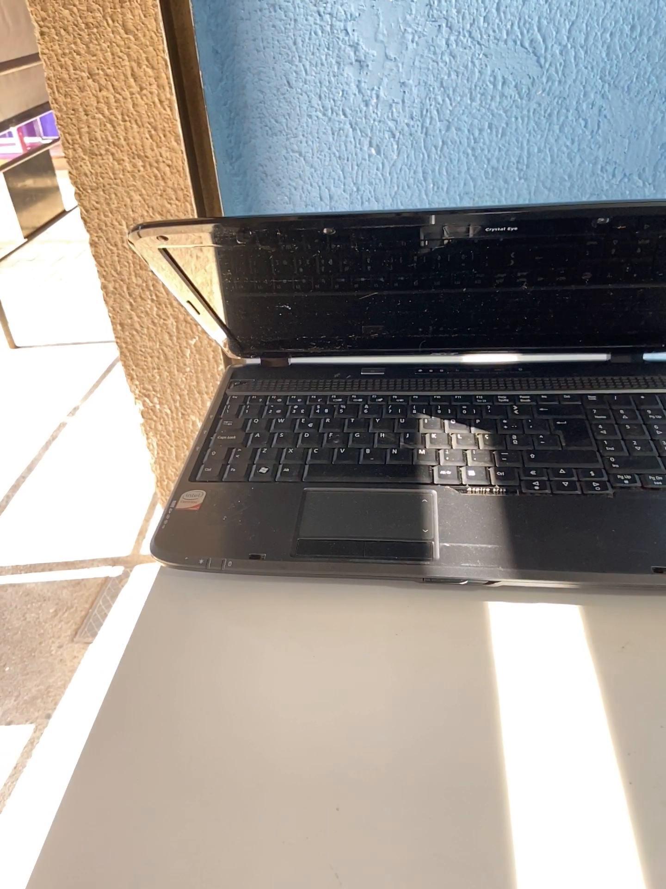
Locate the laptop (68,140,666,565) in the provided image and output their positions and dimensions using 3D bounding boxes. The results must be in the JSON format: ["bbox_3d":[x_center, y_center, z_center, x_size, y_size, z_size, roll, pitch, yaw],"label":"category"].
[{"bbox_3d":[0.081,-0.071,0.450,0.378,0.174,0.237,0,35,6],"label":"laptop"}]
